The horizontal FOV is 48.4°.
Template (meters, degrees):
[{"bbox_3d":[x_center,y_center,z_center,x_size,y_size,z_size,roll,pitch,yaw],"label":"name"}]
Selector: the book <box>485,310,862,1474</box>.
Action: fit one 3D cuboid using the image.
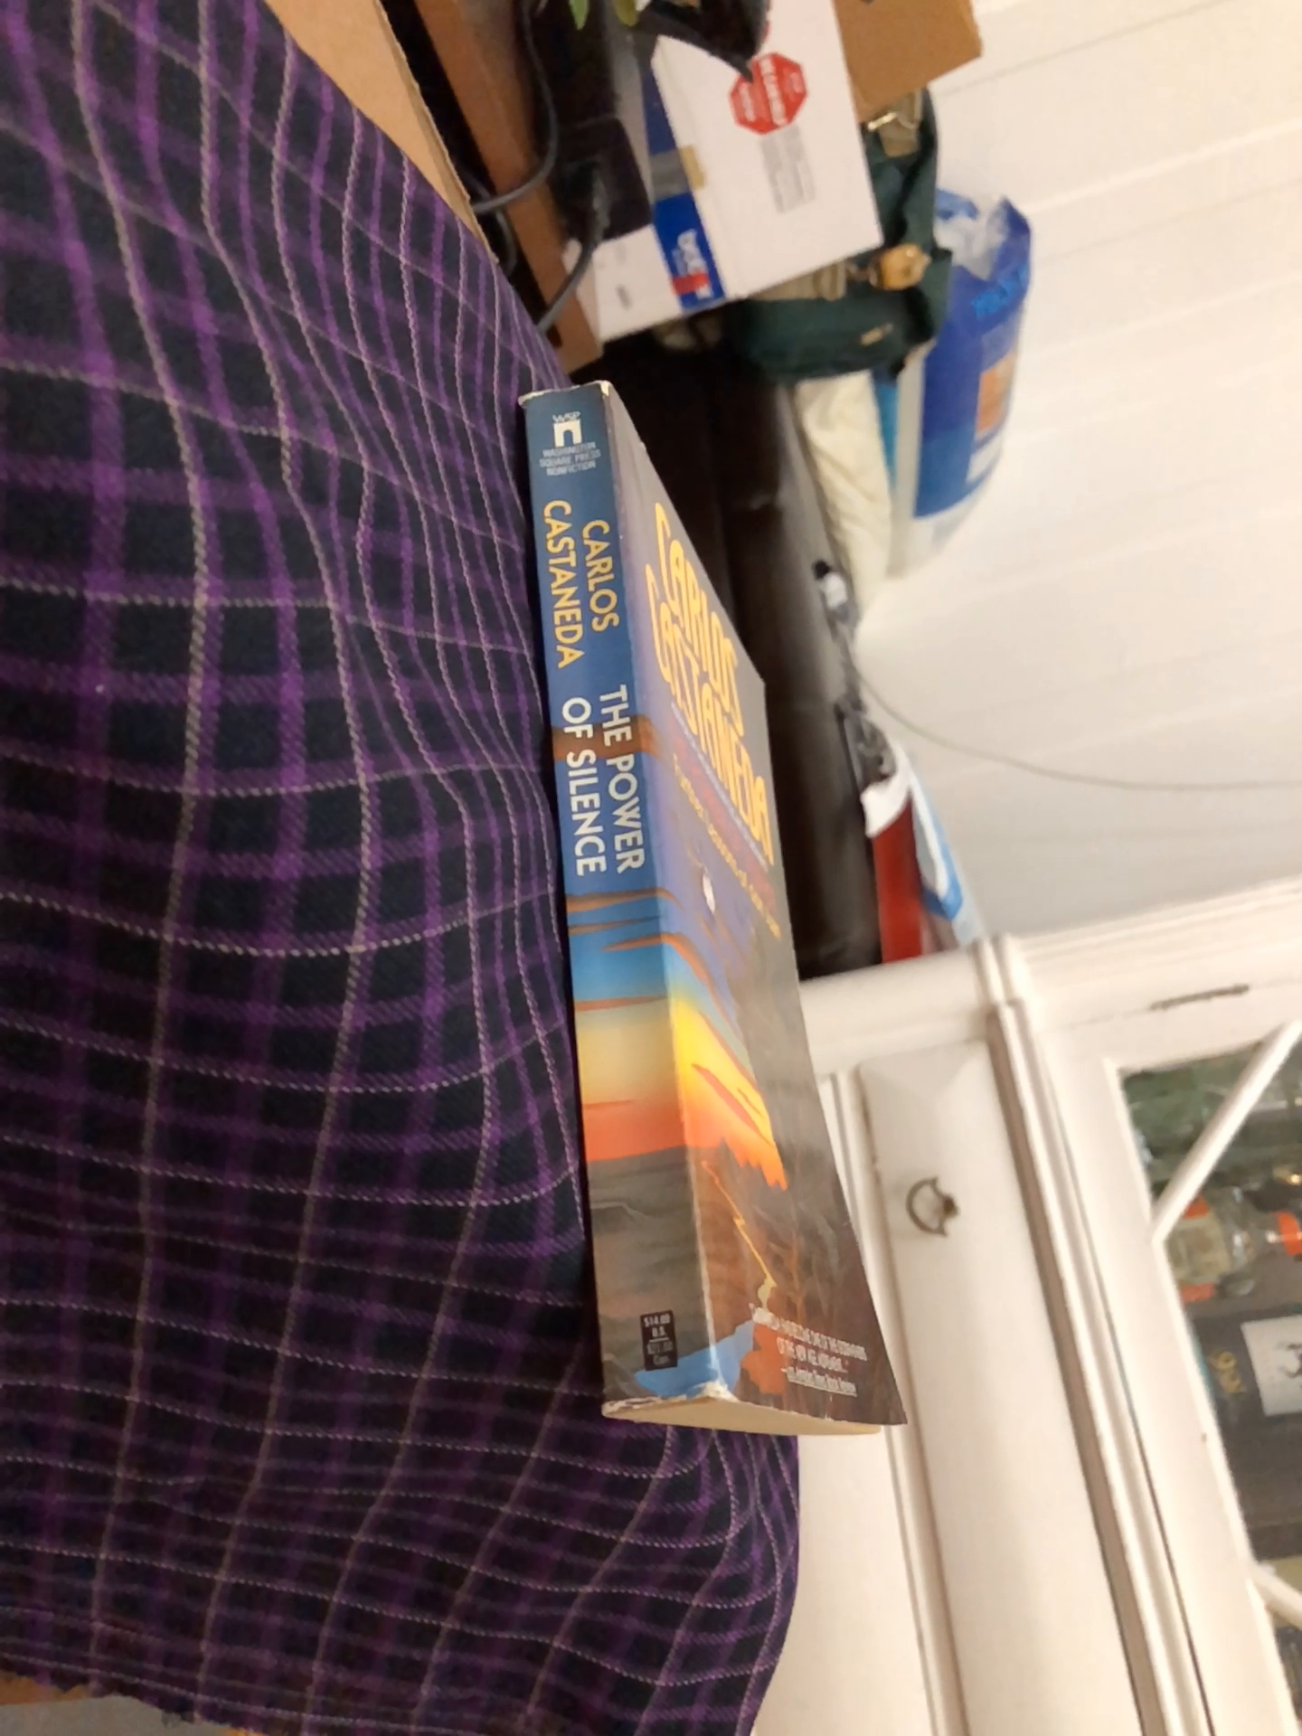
[{"bbox_3d":[0.007,0.013,0.322,0.150,0.020,0.220,52,29,-61],"label":"book"}]
